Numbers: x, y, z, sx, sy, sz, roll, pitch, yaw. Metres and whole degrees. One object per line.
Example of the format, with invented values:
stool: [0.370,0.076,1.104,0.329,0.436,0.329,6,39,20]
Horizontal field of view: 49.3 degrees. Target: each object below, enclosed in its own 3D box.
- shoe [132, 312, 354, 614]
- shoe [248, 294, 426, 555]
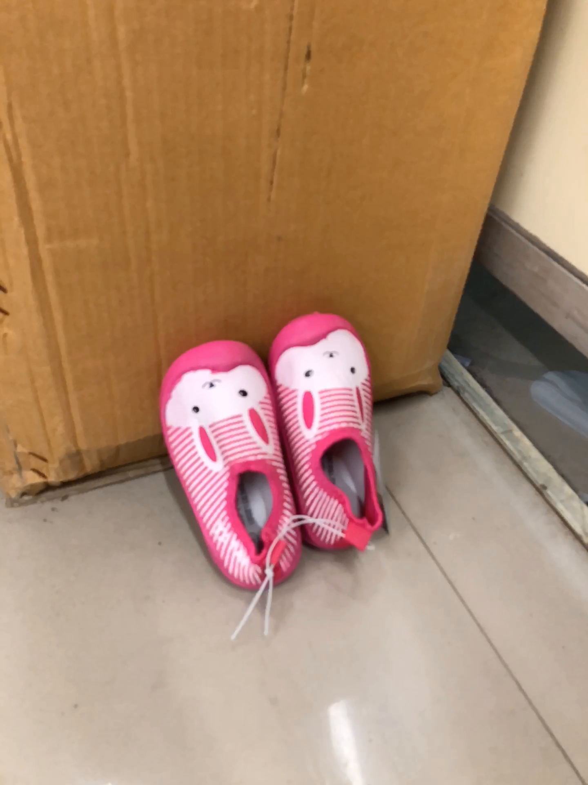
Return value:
shoe: [-0.037,0.043,0.401,0.070,0.082,0.156,-19,87,-23]
shoe: [0.024,0.022,0.430,0.069,0.082,0.148,-11,85,-13]
